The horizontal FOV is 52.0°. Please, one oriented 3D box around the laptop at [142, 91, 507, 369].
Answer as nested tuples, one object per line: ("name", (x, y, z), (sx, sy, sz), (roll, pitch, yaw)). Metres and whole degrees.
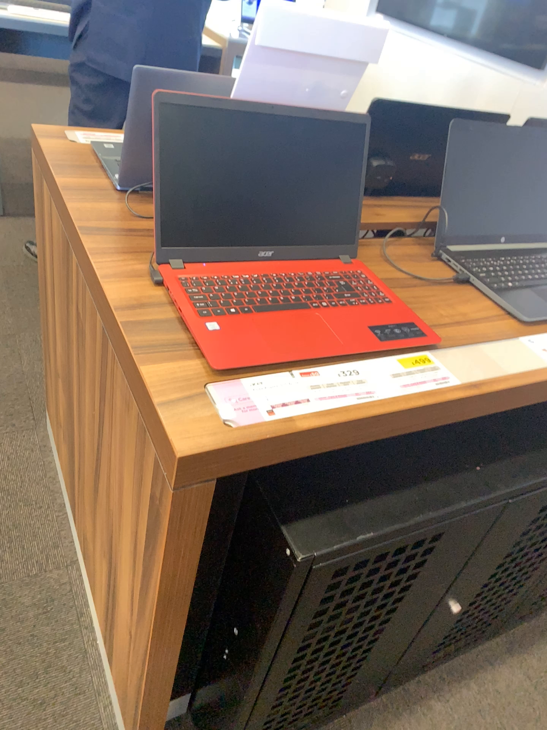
("laptop", (0.043, -0.200, 0.782), (0.357, 0.213, 0.323), (-7, 42, -27))
